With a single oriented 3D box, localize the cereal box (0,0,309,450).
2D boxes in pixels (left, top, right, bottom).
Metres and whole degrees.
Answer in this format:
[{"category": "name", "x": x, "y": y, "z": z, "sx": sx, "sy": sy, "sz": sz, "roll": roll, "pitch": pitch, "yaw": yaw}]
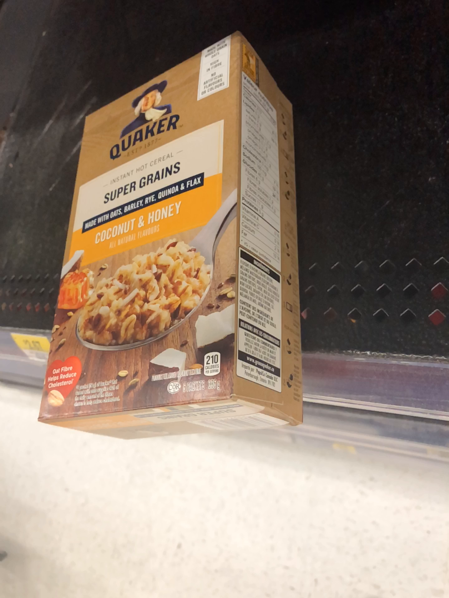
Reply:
[{"category": "cereal box", "x": -0.035, "y": -0.042, "z": 0.287, "sx": 0.141, "sy": 0.060, "sz": 0.230, "roll": -16, "pitch": 59, "yaw": 31}]
